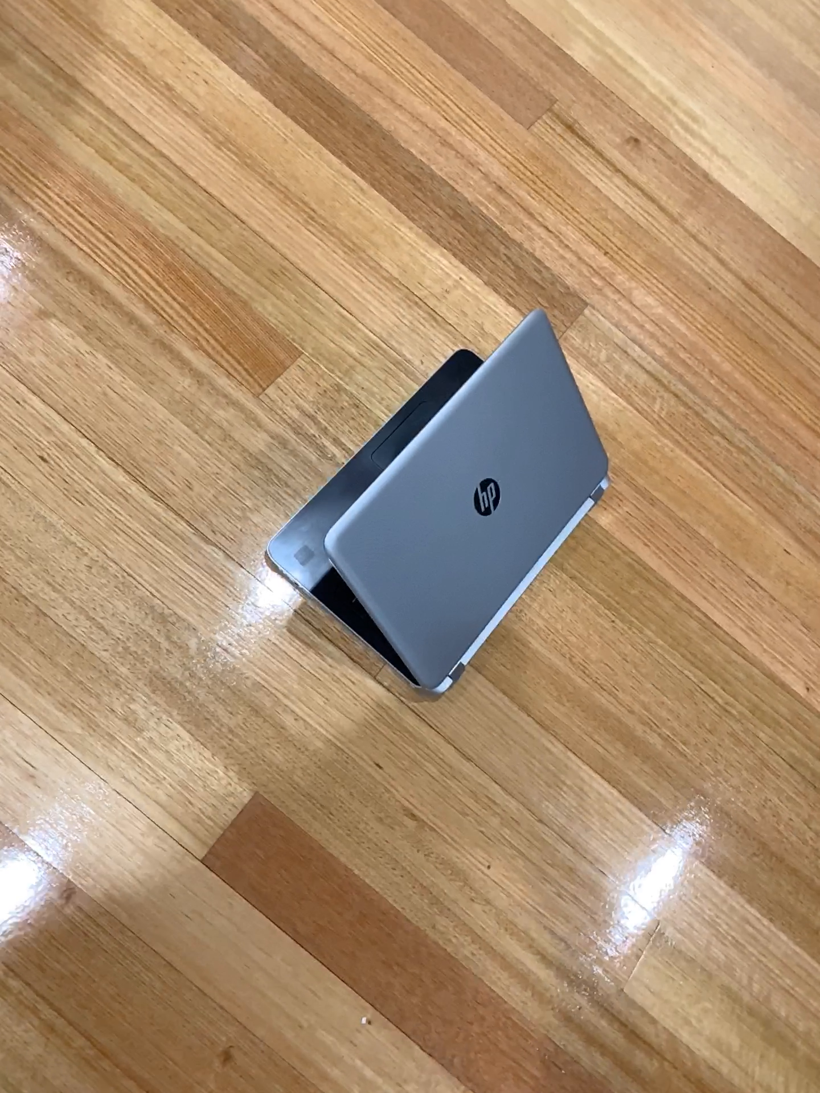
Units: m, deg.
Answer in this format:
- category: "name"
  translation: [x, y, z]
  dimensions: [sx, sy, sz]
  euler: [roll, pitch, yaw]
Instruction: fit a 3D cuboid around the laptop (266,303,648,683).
- category: "laptop"
  translation: [0.052, -0.057, 0.859]
  dimensions: [0.209, 0.102, 0.333]
  euler: [42, 68, -1]
